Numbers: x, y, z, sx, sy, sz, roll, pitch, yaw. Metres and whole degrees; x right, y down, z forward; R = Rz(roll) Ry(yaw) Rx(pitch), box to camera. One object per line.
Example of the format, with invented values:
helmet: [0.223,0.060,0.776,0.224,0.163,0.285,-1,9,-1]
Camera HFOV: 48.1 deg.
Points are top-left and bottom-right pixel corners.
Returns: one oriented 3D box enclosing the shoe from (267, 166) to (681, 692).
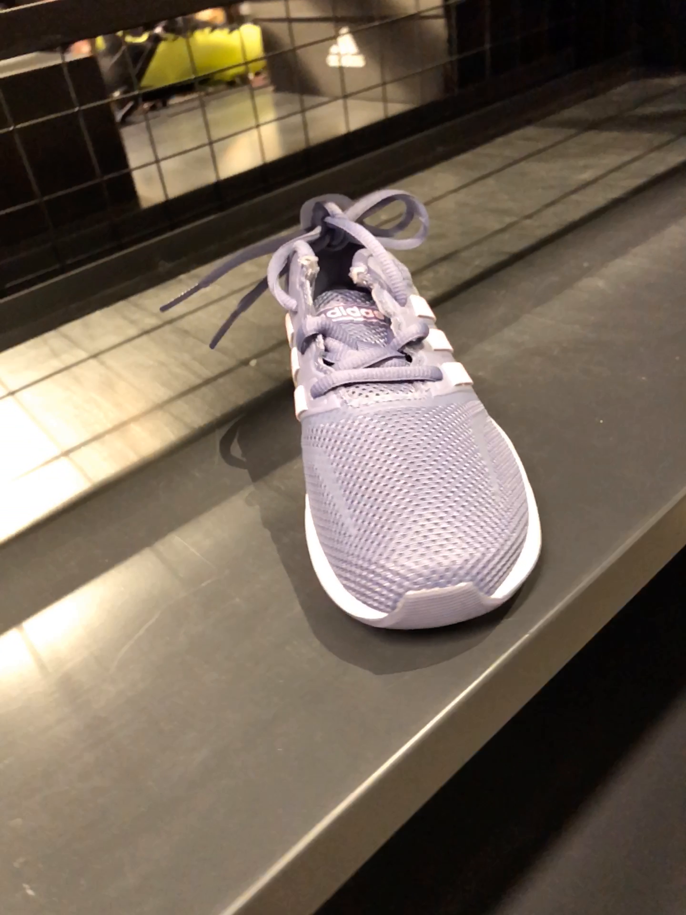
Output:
shoe: [0.030,-0.034,0.306,0.090,0.090,0.221,-12,35,-2]
